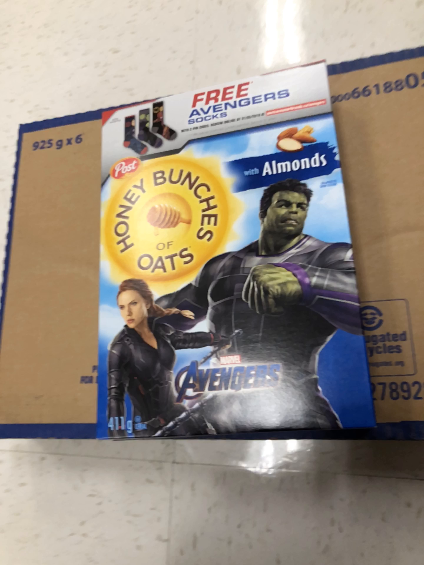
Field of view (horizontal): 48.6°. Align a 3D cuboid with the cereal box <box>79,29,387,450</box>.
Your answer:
[{"bbox_3d":[0.007,-0.029,0.369,0.200,0.070,0.290,-7,74,14],"label":"cereal box"}]
